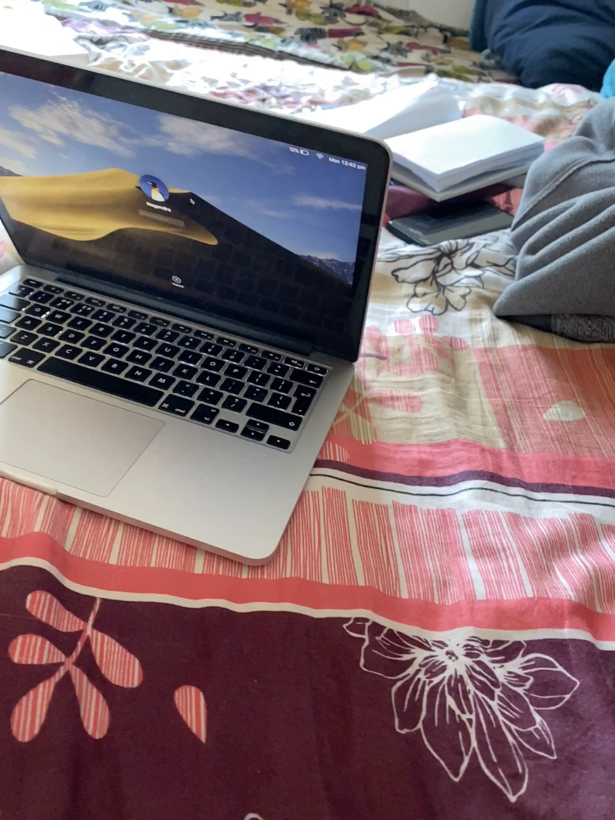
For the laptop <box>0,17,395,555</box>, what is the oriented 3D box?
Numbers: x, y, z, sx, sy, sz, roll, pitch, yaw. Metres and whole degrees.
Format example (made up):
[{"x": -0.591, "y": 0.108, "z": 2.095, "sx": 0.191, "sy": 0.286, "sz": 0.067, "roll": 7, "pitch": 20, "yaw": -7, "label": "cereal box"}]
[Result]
[{"x": -0.130, "y": -0.094, "z": 0.394, "sx": 0.303, "sy": 0.191, "sz": 0.203, "roll": 17, "pitch": 41, "yaw": 10, "label": "laptop"}]
